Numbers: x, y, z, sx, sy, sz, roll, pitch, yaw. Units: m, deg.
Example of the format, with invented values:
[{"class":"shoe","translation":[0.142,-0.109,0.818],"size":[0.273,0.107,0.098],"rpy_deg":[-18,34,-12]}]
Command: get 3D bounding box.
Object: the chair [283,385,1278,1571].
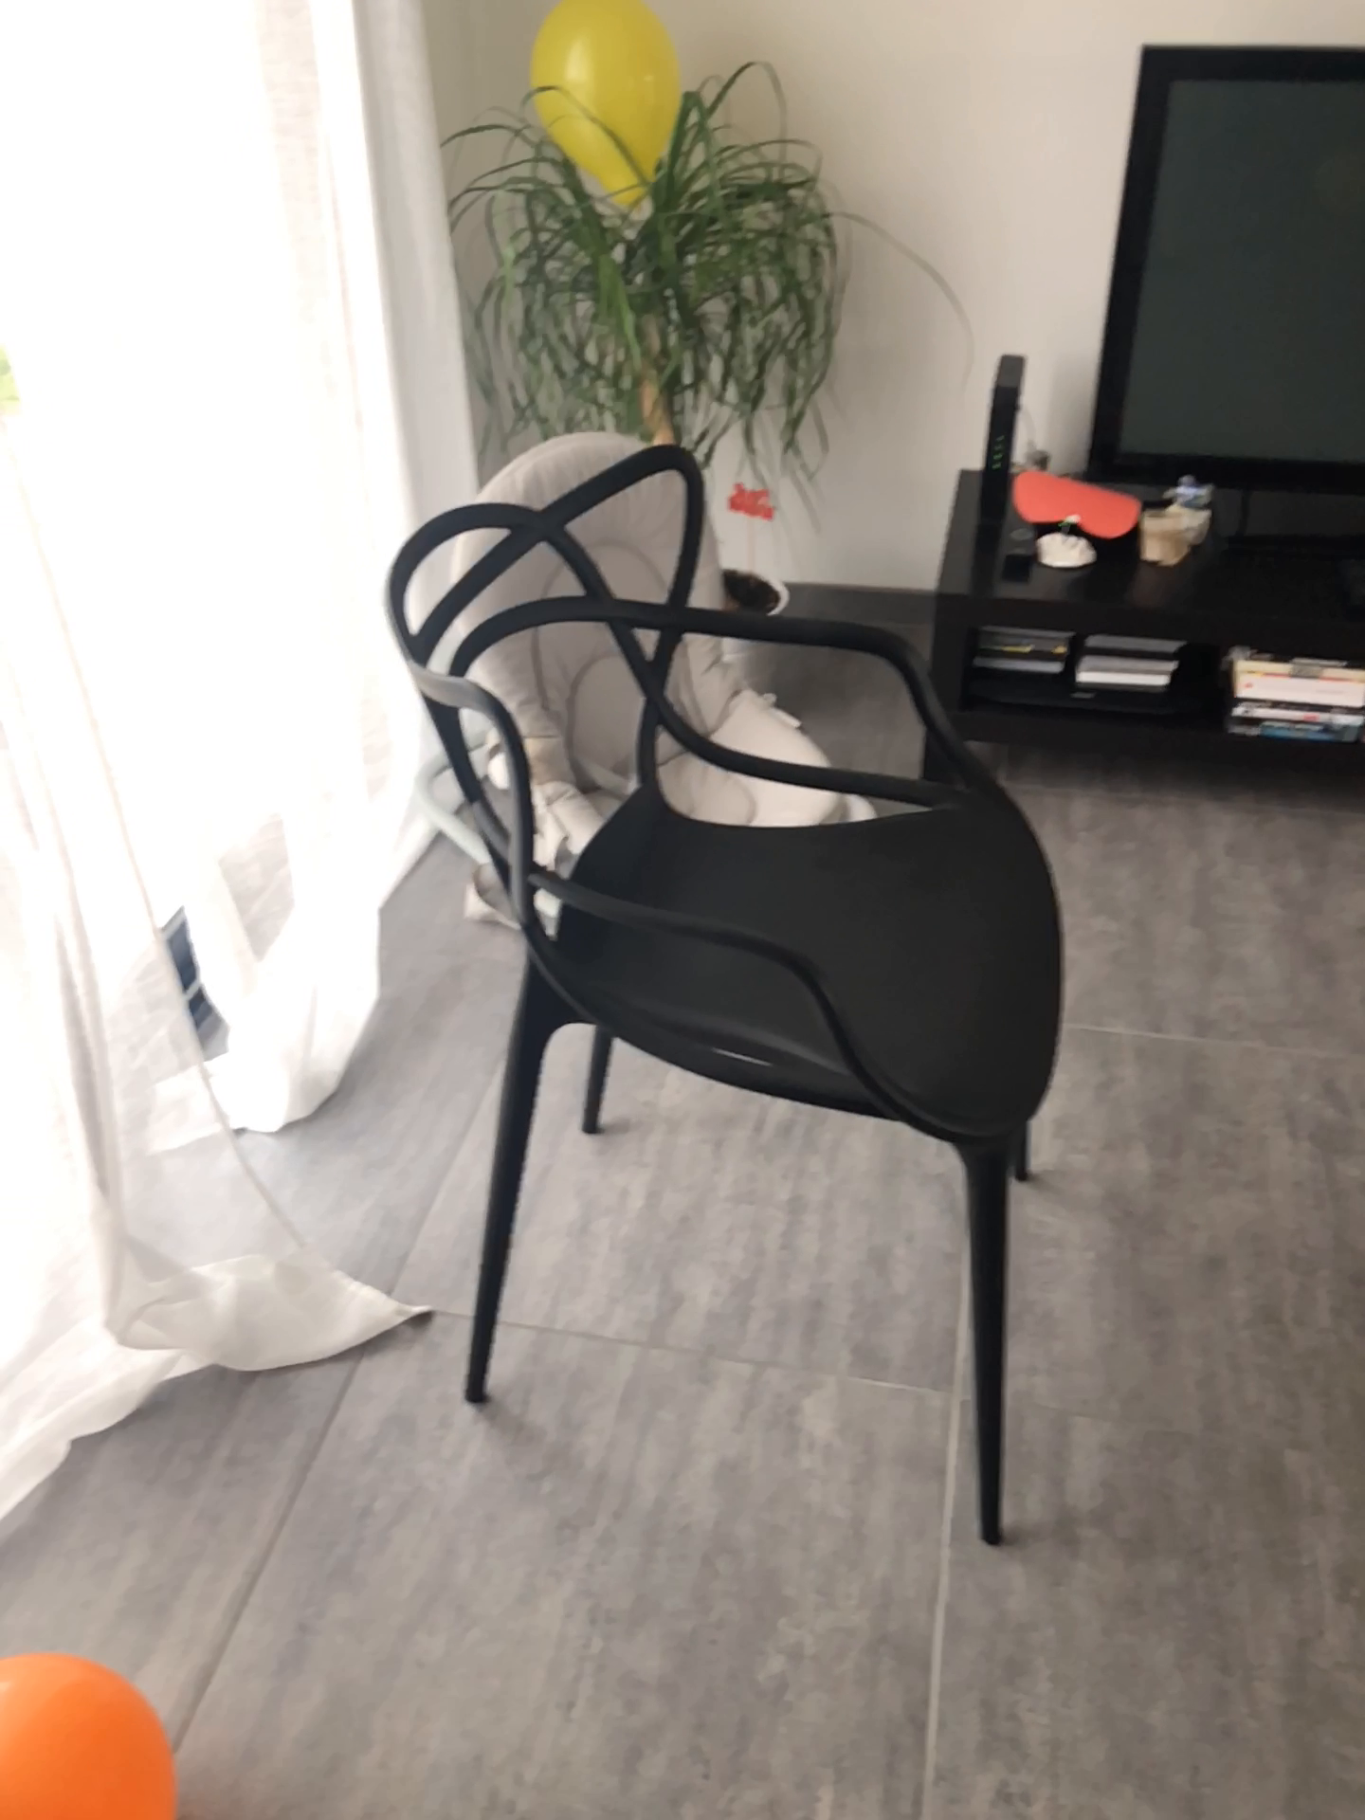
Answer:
[{"class":"chair","translation":[0.113,0.037,1.316],"size":[0.585,0.795,0.567],"rpy_deg":[7,36,12]}]
